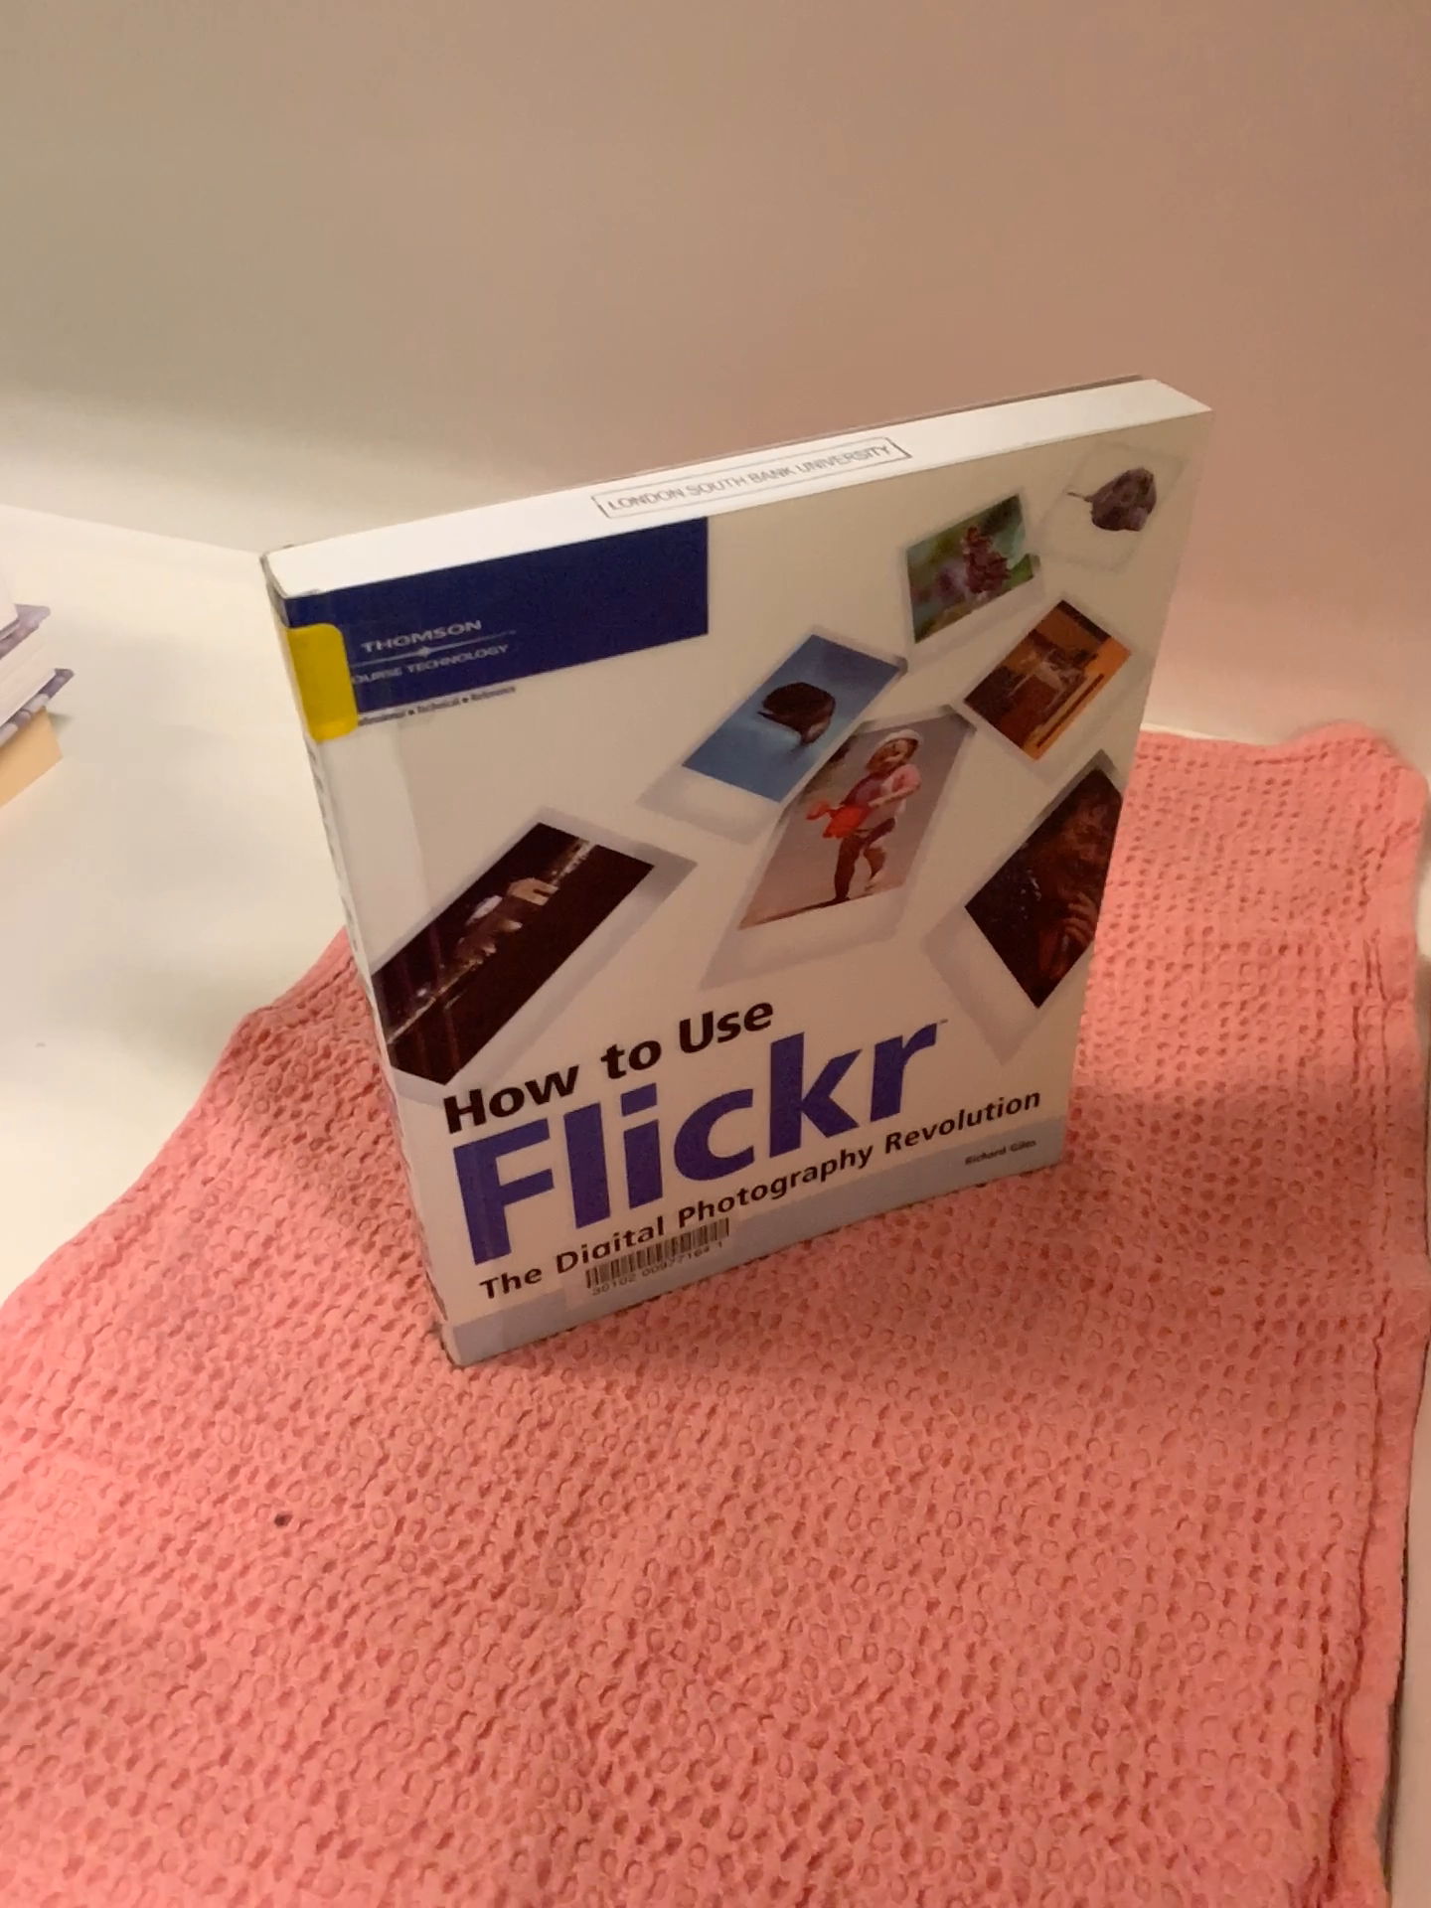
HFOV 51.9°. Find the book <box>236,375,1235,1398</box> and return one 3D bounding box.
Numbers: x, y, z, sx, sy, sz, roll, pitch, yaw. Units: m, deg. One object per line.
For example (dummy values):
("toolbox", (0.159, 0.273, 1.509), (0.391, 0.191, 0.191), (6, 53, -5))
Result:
("book", (0.011, -0.002, 0.346), (0.191, 0.228, 0.025), (-16, 44, -17))
